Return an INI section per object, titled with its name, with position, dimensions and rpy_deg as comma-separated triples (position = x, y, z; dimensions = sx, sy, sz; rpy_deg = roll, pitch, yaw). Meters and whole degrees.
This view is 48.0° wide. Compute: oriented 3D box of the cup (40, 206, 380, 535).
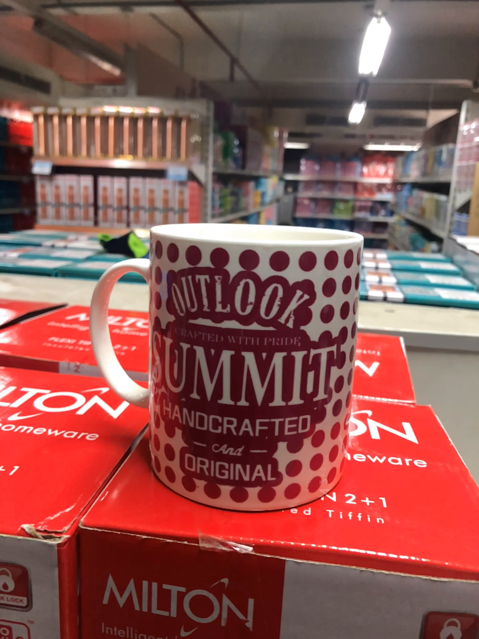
[cup]
position = -0.007, 0.010, 0.219
dimensions = 0.110, 0.100, 0.080
rpy_deg = 6, 15, 11
